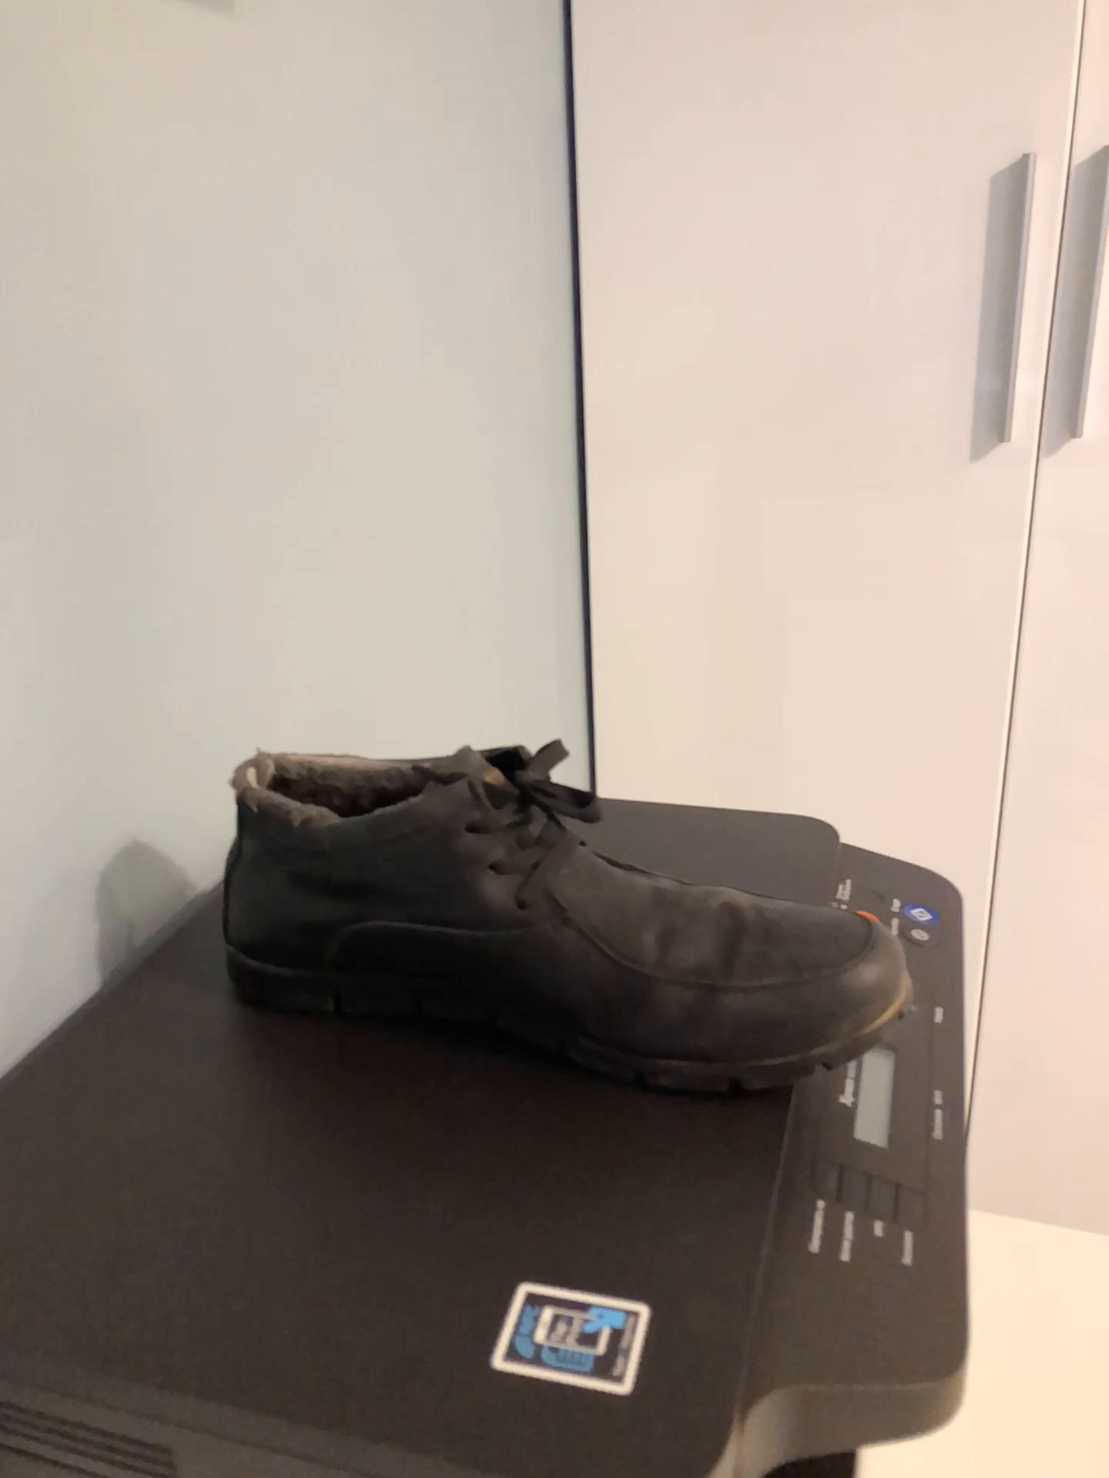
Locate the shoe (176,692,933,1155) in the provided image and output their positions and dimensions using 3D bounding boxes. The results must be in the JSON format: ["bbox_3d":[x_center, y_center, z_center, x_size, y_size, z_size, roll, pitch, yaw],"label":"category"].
[{"bbox_3d":[0.003,0.062,0.499,0.280,0.109,0.111,6,23,20],"label":"shoe"}]
